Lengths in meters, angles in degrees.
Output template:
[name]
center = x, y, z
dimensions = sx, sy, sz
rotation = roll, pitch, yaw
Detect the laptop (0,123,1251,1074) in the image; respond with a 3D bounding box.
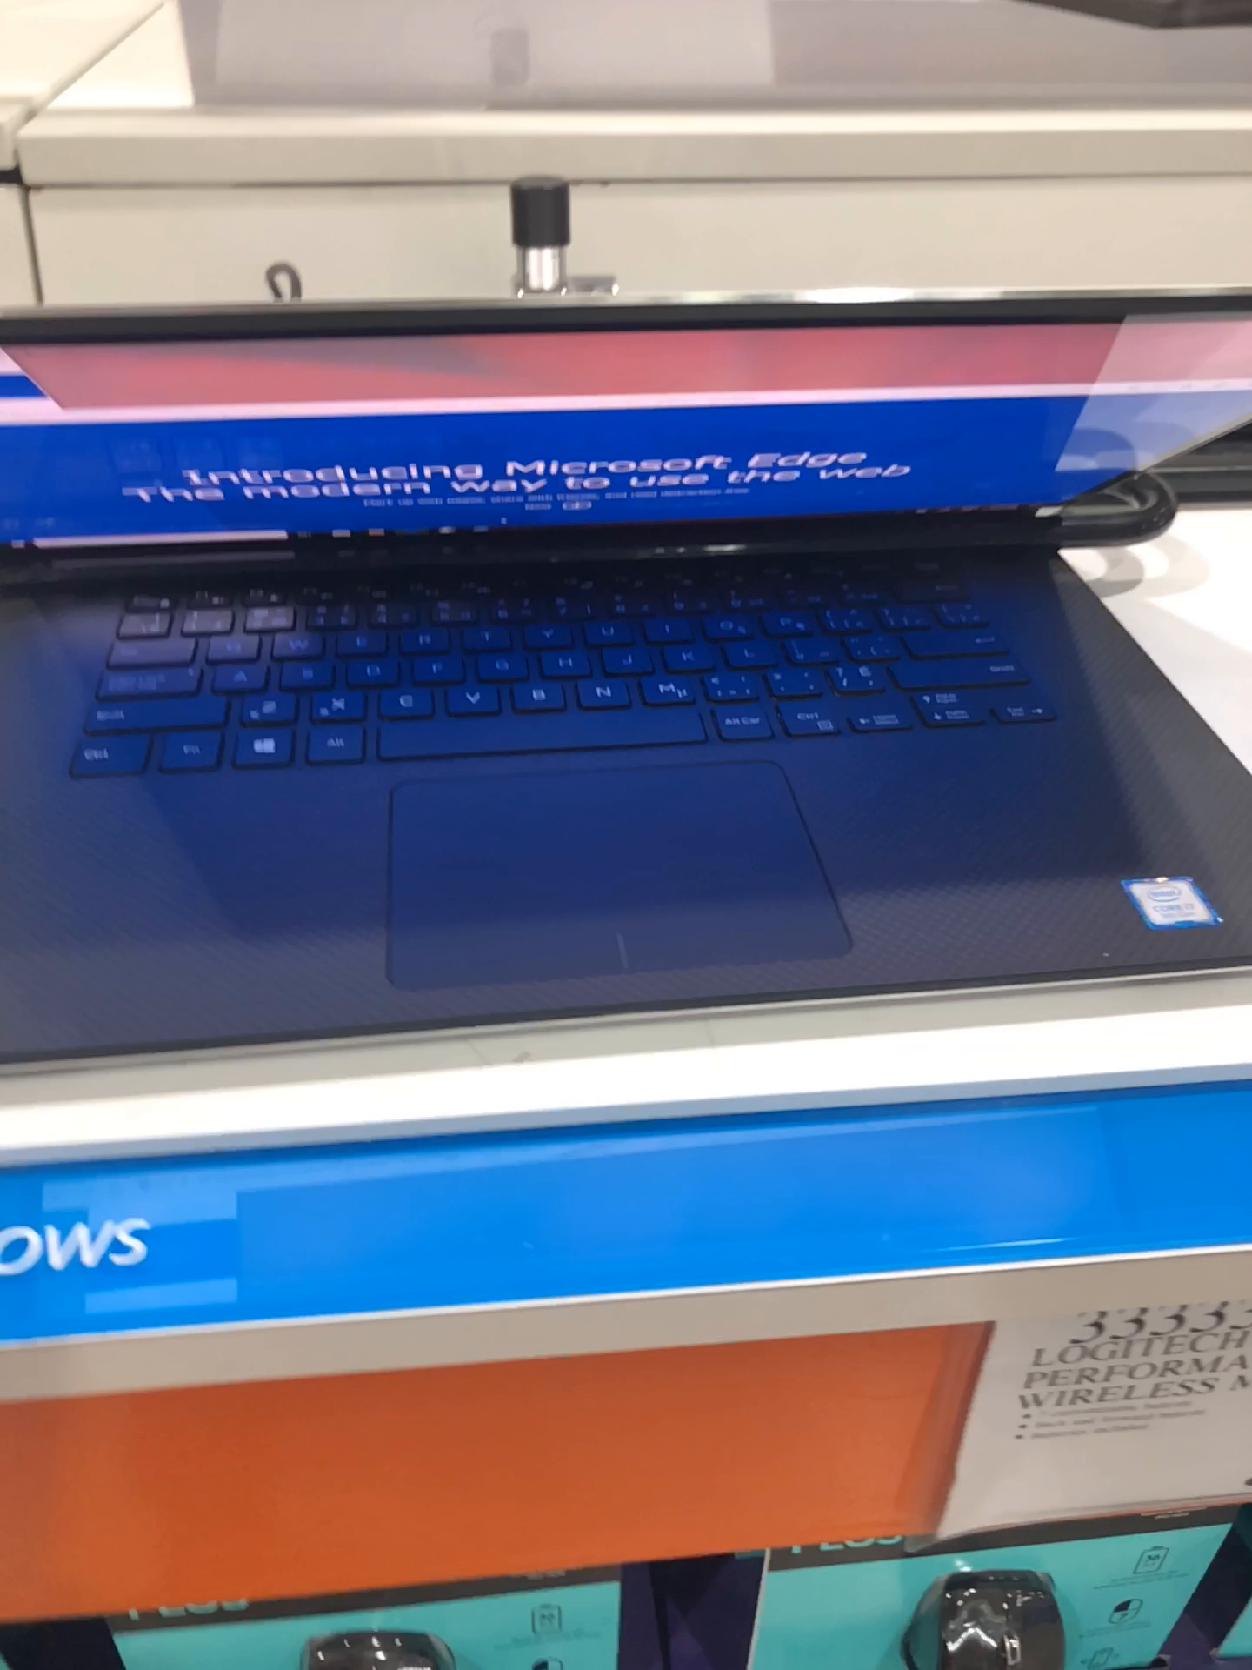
[laptop]
center = -0.013, -0.083, 0.347
dimensions = 0.345, 0.133, 0.218
rotation = -4, 37, -8
